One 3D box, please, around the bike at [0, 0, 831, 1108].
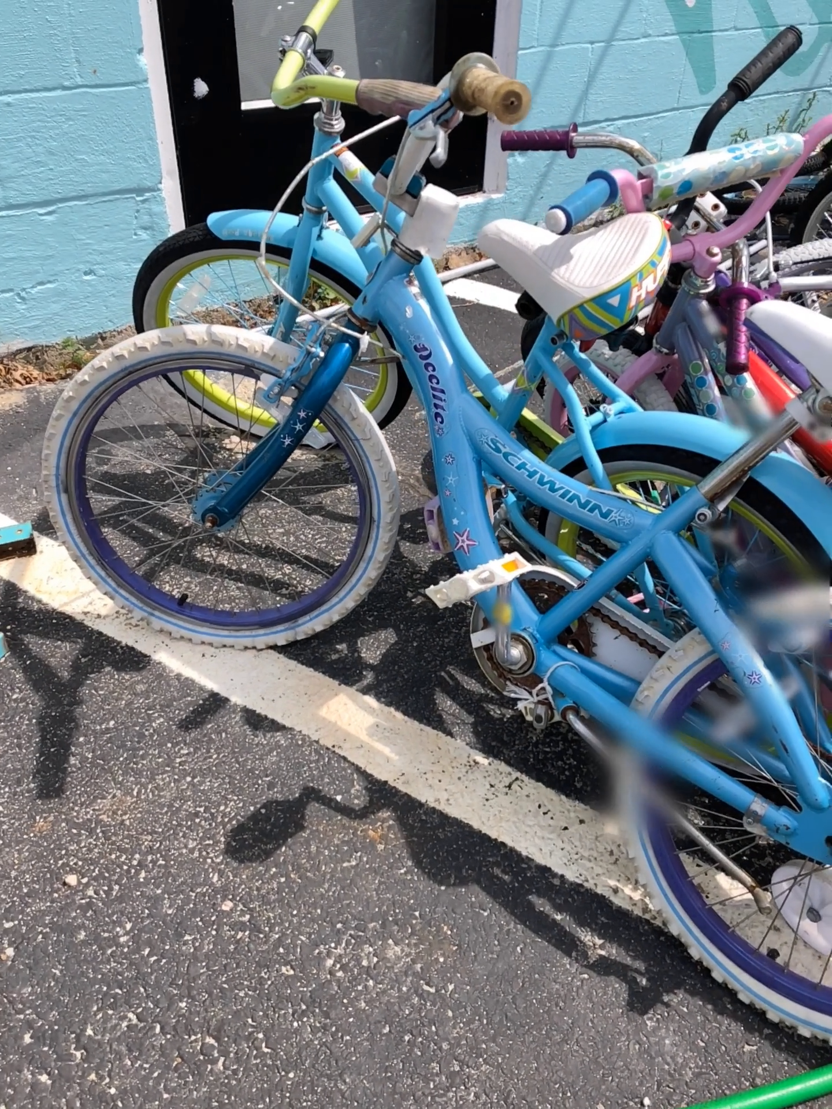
[{"bbox_3d":[0.180,-0.158,0.962,1.266,0.777,0.558,26,43,20],"label":"bike"}]
